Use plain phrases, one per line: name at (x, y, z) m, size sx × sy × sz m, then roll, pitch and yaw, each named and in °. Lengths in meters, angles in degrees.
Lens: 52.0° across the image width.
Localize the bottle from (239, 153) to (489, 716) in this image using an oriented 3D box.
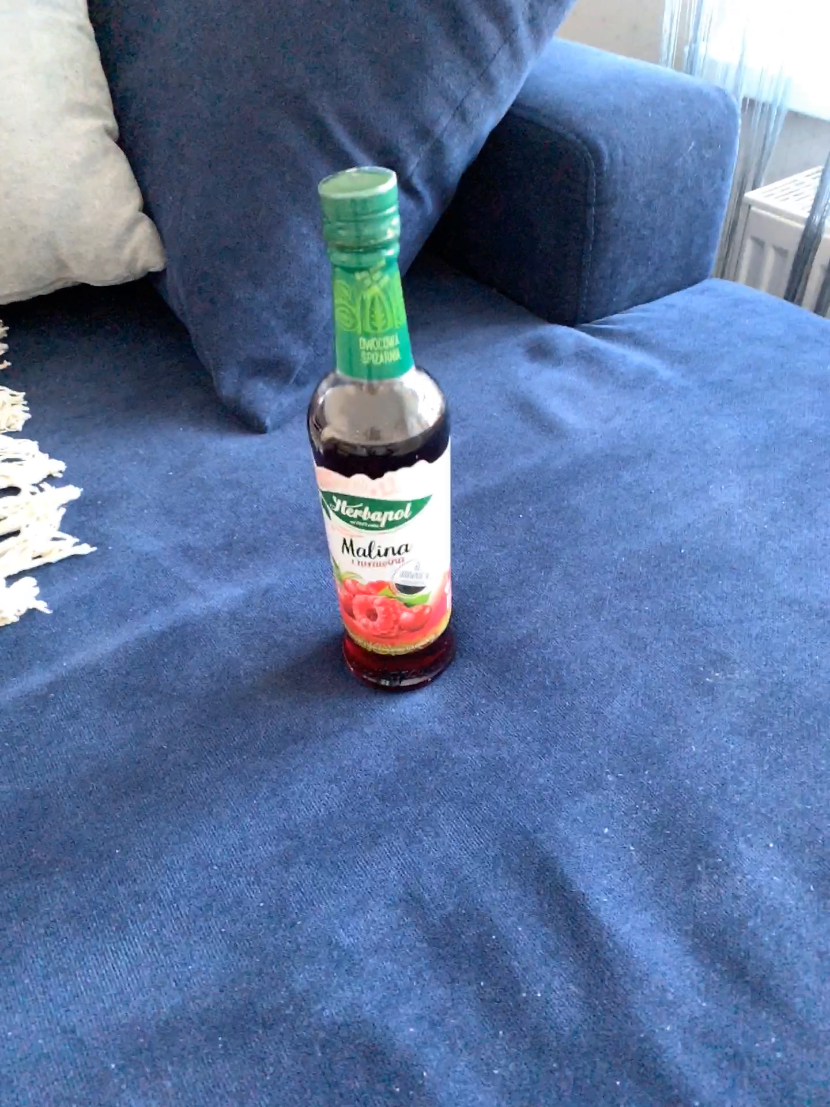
bottle at (-0.010, -0.037, 0.386) m, size 0.070 × 0.249 × 0.070 m, roll -2°, pitch 43°, yaw 2°
